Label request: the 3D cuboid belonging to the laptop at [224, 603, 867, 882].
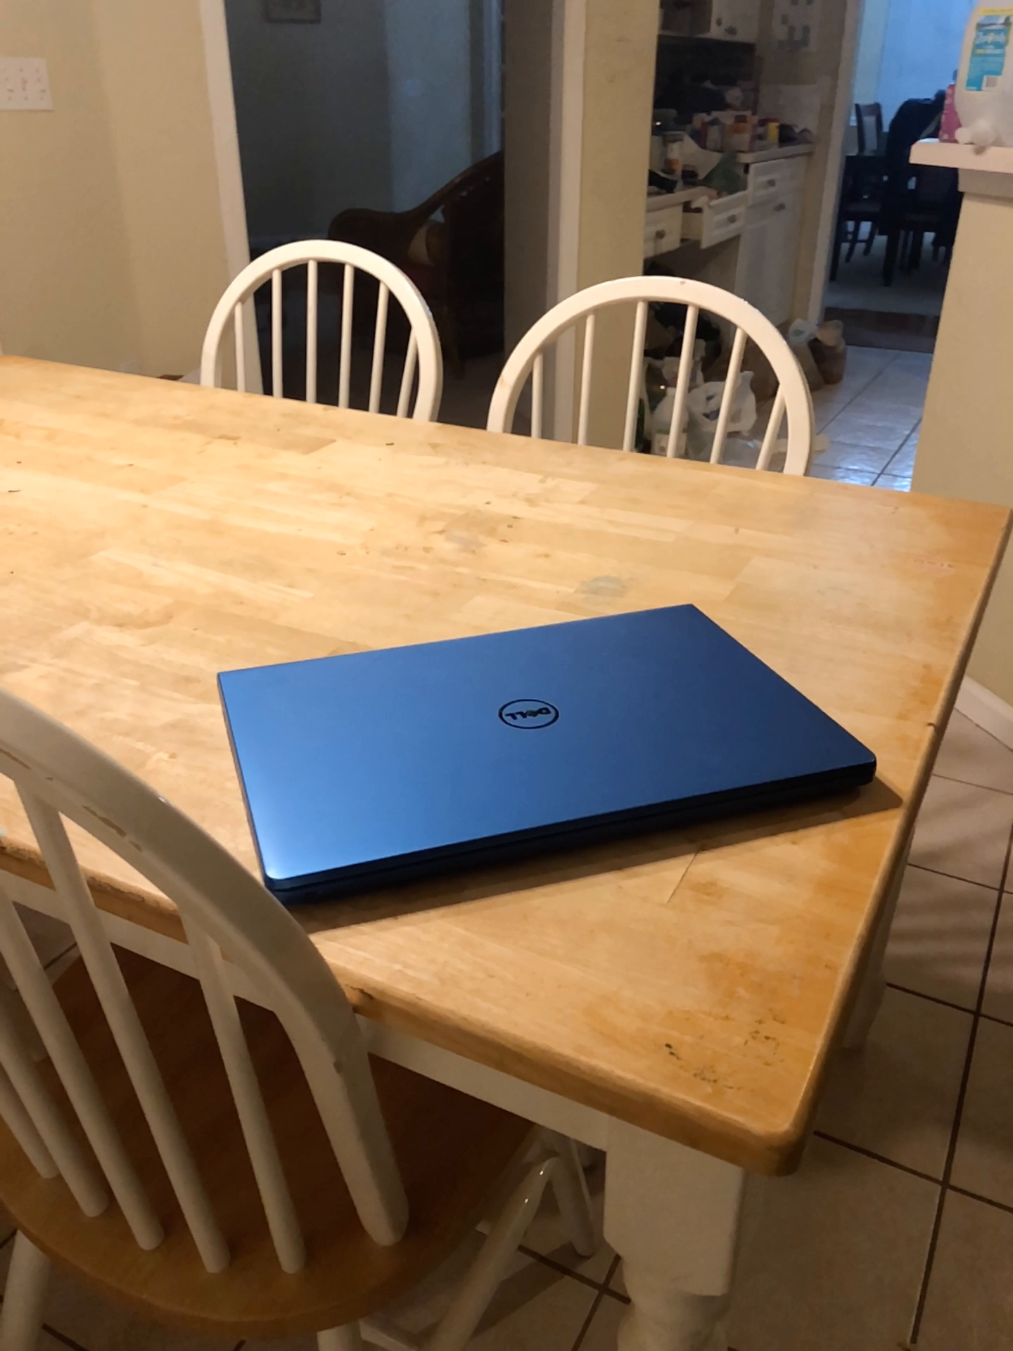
[{"bbox_3d":[0.012,0.027,0.785,0.388,0.001,0.260,-9,30,-17],"label":"laptop"}]
